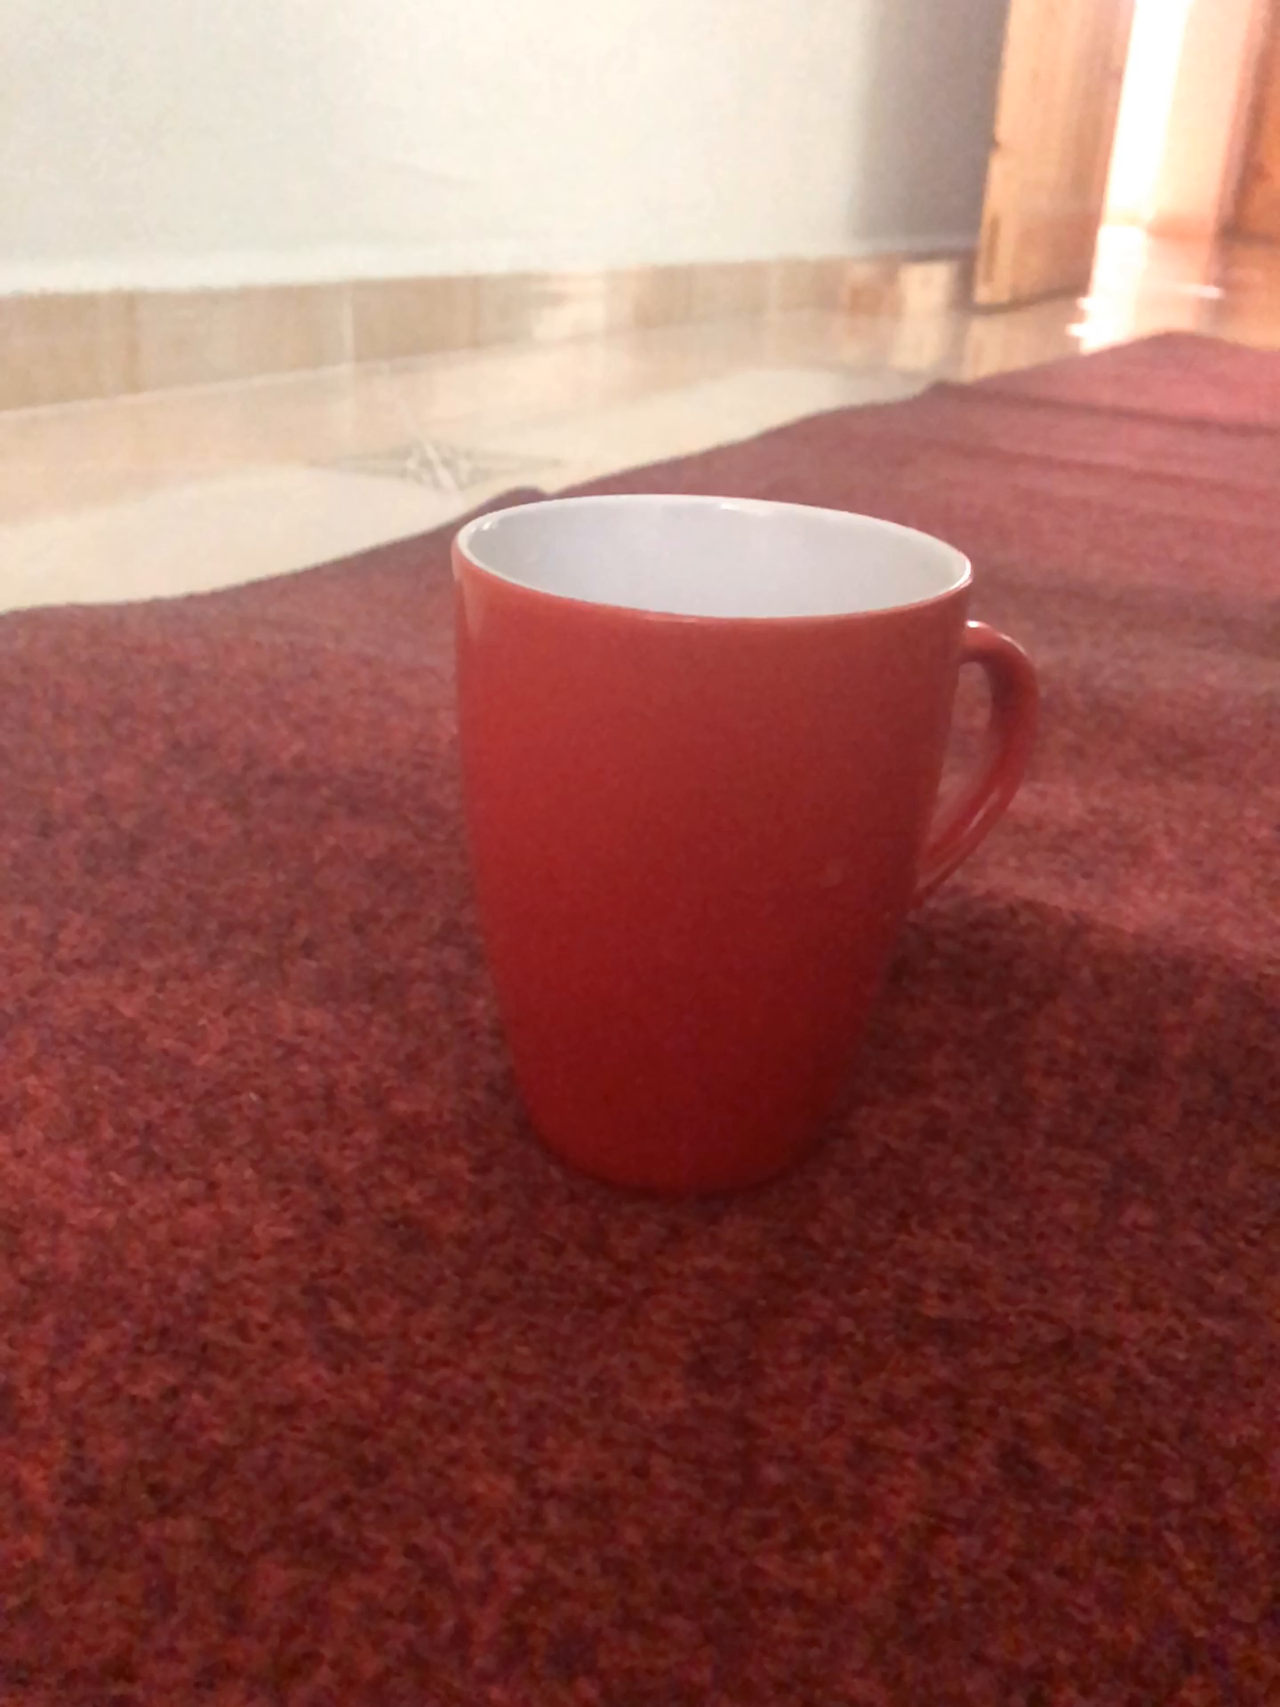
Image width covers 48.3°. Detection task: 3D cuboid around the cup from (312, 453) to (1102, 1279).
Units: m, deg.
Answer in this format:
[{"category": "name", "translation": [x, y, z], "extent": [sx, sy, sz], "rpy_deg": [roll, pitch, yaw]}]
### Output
[{"category": "cup", "translation": [0.014, -0.010, 0.247], "extent": [0.078, 0.094, 0.109], "rpy_deg": [20, 30, 33]}]
